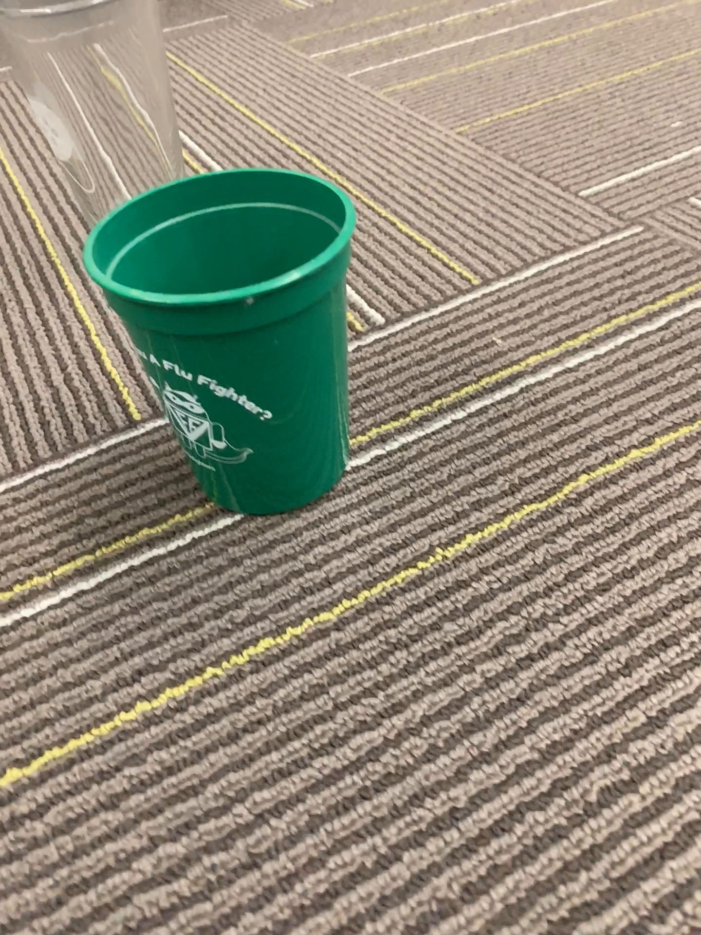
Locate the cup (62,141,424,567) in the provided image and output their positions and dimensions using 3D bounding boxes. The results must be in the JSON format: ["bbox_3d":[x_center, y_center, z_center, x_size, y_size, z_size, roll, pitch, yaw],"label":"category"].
[{"bbox_3d":[-0.033,-0.045,0.286,0.090,0.119,0.080,29,55,31],"label":"cup"}]
